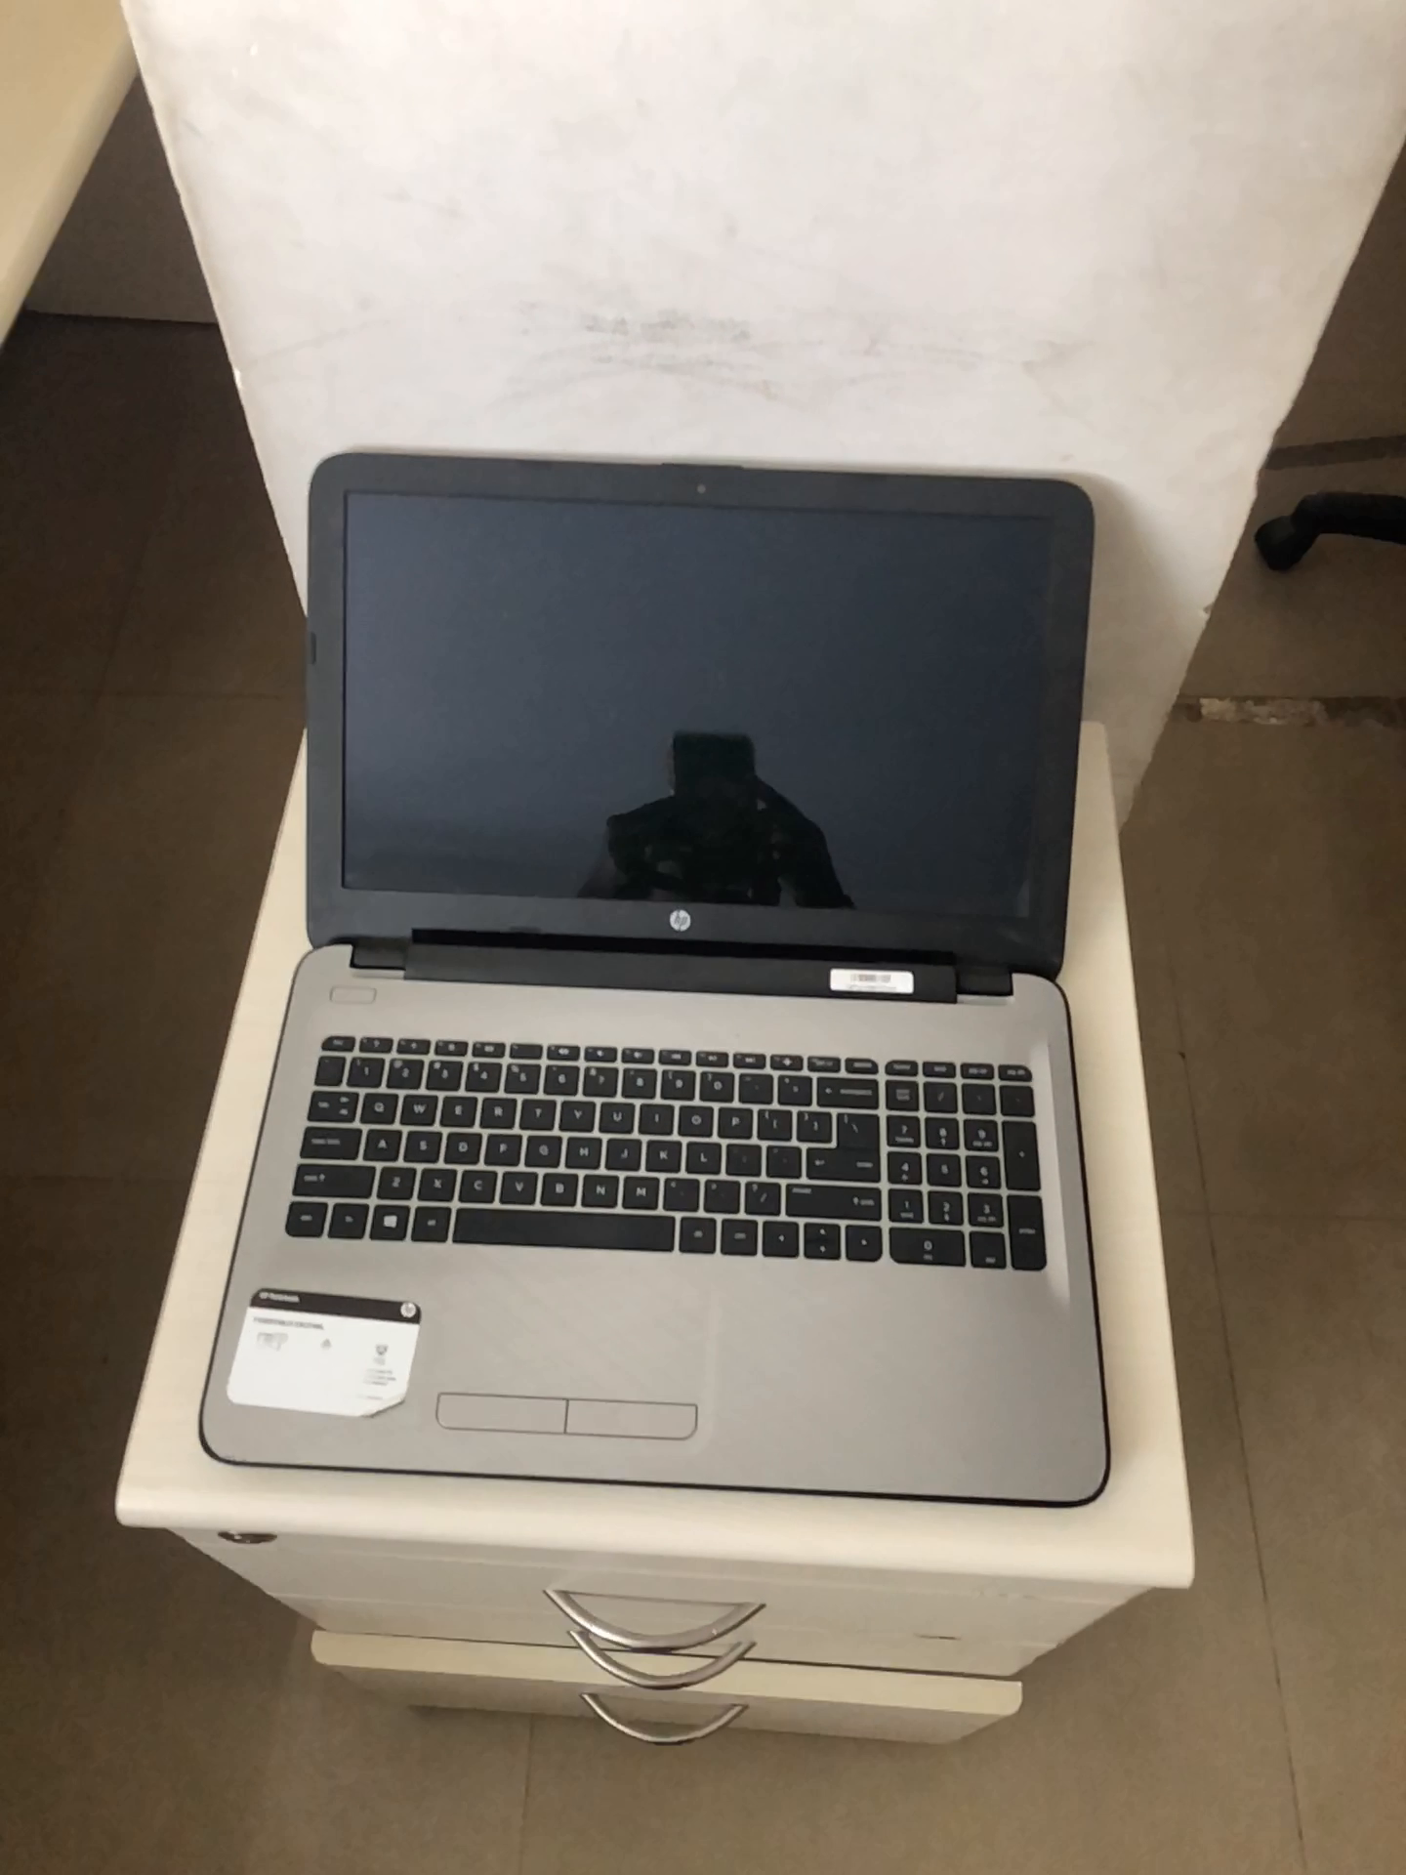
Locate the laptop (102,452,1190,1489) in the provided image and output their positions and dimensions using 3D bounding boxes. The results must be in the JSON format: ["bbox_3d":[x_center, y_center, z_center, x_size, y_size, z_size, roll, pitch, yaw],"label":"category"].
[{"bbox_3d":[-0.011,-0.004,0.676,0.361,0.136,0.427,2,59,1],"label":"laptop"}]
